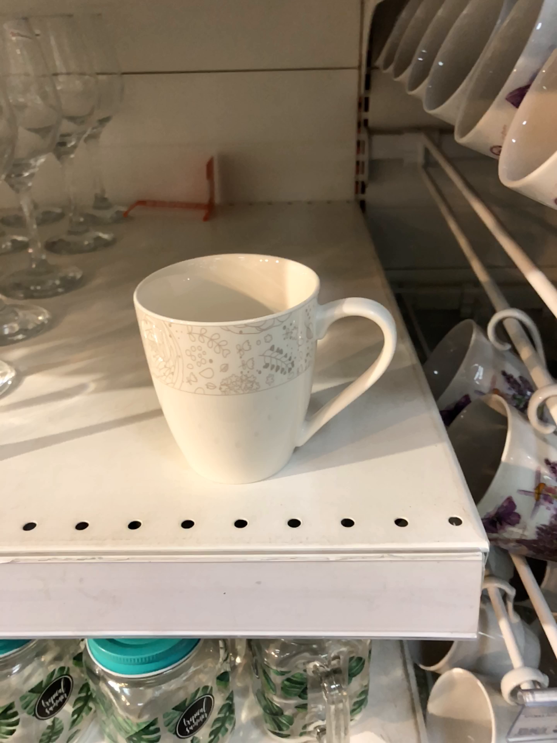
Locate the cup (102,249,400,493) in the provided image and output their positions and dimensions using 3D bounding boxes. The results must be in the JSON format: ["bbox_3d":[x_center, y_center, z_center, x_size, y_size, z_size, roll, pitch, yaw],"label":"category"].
[{"bbox_3d":[-0.008,-0.004,0.320,0.125,0.091,0.090,1,30,4],"label":"cup"}]
